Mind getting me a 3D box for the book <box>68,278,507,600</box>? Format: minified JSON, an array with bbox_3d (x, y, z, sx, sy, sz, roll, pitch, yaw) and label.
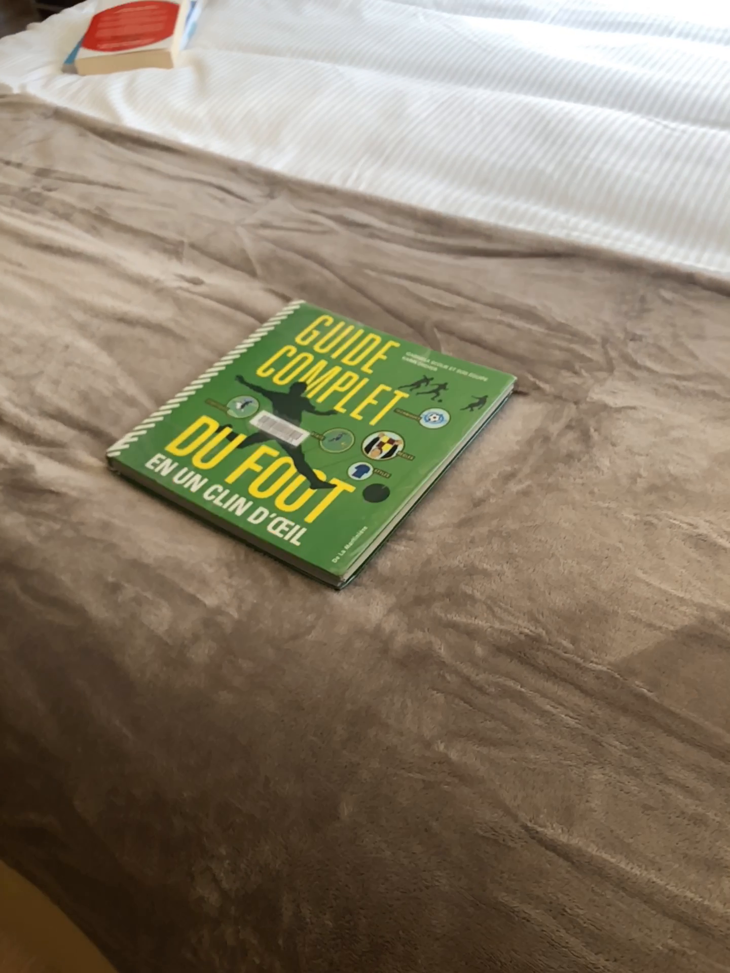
[{"bbox_3d":[-0.053,-0.057,0.605,0.227,0.018,0.239,26,55,25],"label":"book"}]
